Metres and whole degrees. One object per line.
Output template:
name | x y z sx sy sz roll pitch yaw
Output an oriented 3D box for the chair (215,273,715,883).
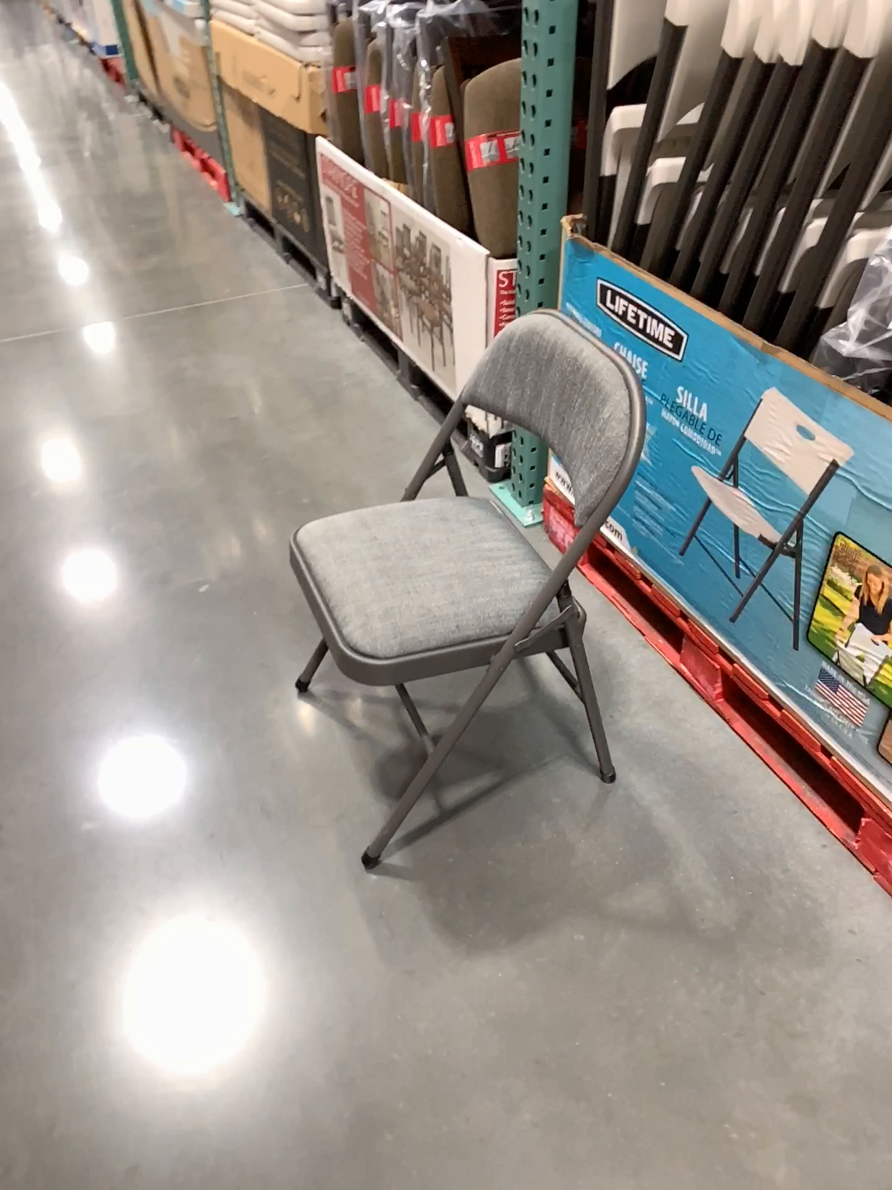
chair | 0.002 -0.037 1.413 0.502 0.687 0.496 -16 42 -17
